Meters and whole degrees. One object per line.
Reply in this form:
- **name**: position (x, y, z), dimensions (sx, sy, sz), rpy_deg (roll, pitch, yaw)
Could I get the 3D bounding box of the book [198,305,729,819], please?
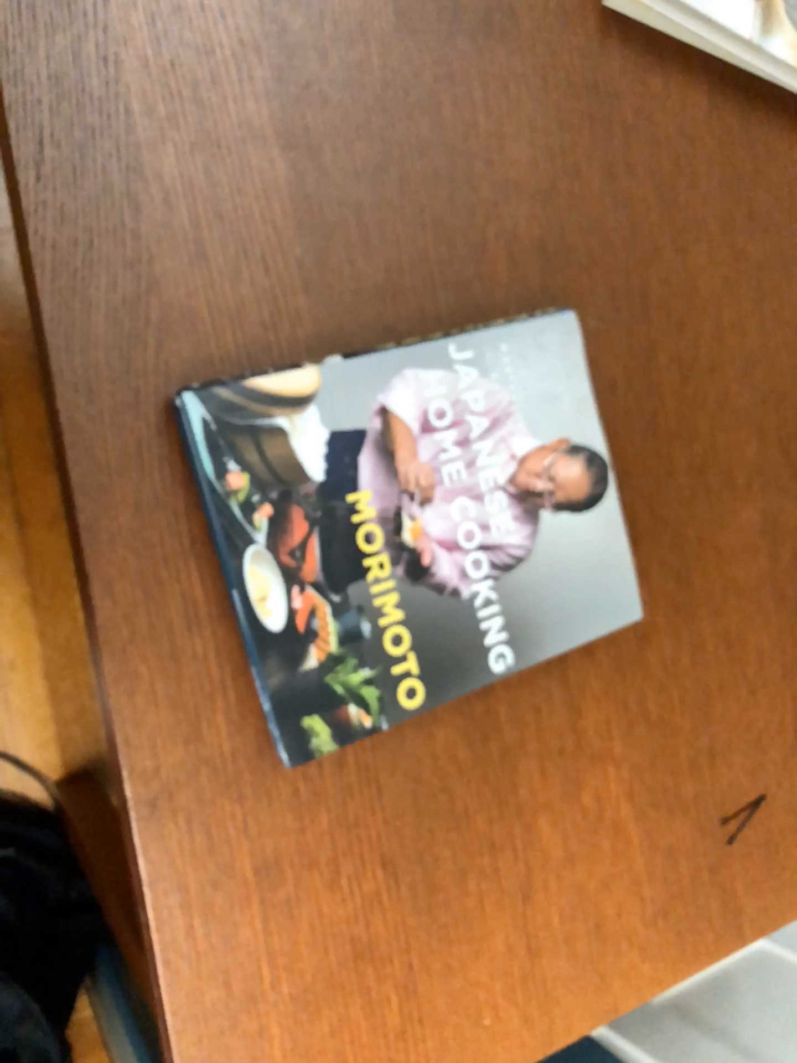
- **book**: position (0.058, 0.002, 0.531), dimensions (0.301, 0.030, 0.220), rpy_deg (-18, 97, -27)
